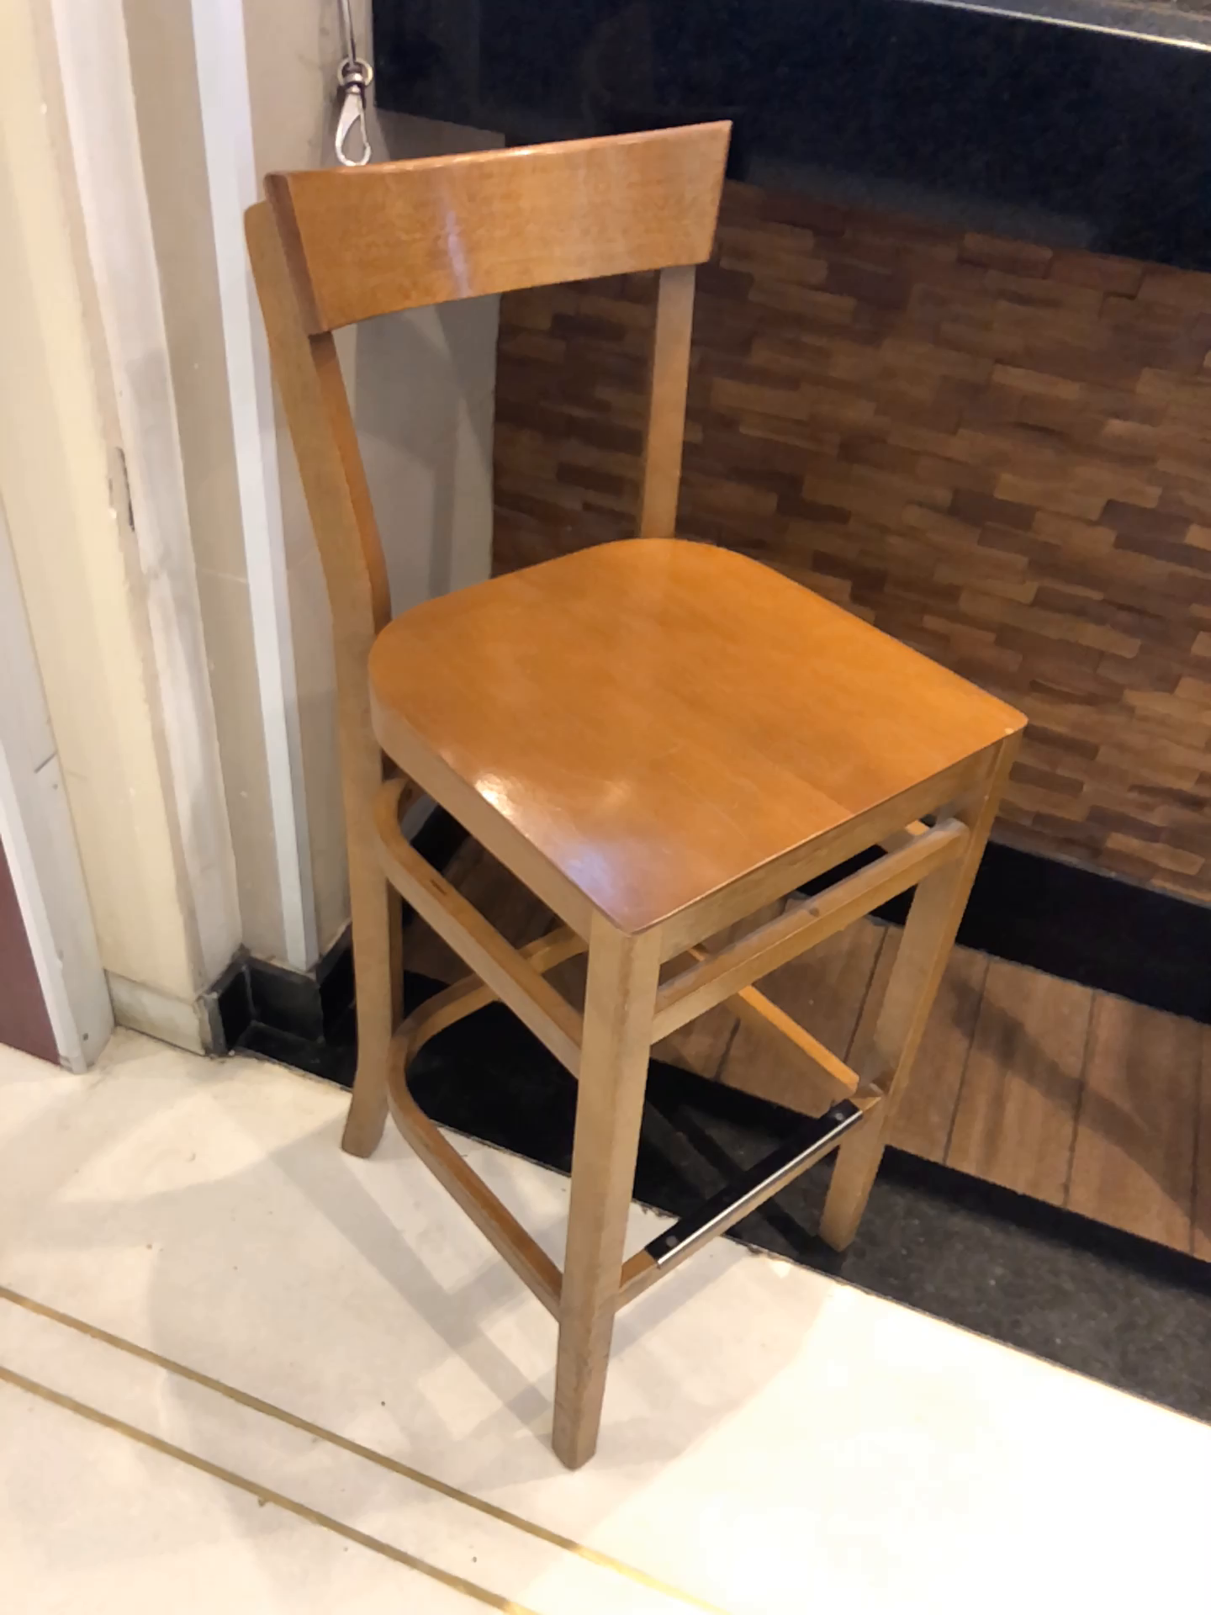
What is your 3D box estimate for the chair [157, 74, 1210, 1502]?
[{"bbox_3d":[0.029,0.008,1.140,0.482,0.993,0.532,-27,51,-33],"label":"chair"}]
